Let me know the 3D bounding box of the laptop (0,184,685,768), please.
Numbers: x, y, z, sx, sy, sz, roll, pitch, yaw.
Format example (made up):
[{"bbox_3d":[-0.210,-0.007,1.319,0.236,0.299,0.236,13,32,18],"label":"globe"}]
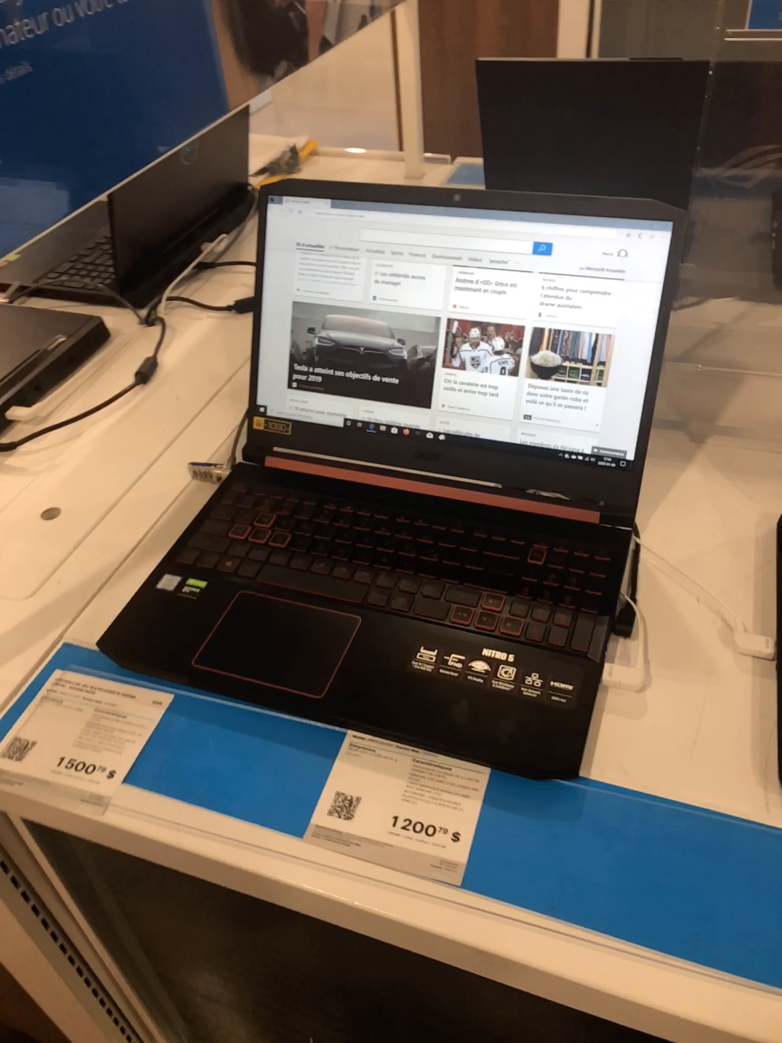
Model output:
[{"bbox_3d":[0.001,-0.072,0.646,0.357,0.211,0.360,10,44,18],"label":"laptop"}]
